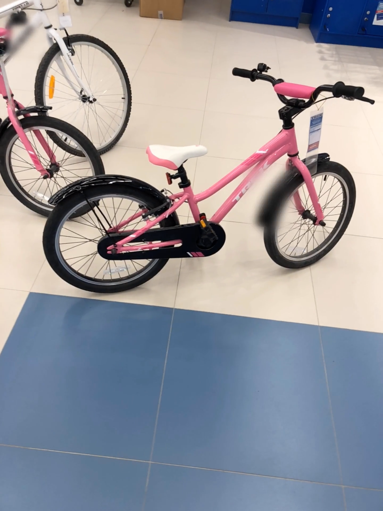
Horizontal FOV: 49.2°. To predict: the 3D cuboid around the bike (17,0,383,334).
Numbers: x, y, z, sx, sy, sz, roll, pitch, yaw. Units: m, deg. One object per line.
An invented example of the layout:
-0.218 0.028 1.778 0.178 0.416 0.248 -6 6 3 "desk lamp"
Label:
0.113 -0.355 1.578 1.297 0.834 0.558 -13 46 -13 "bike"
